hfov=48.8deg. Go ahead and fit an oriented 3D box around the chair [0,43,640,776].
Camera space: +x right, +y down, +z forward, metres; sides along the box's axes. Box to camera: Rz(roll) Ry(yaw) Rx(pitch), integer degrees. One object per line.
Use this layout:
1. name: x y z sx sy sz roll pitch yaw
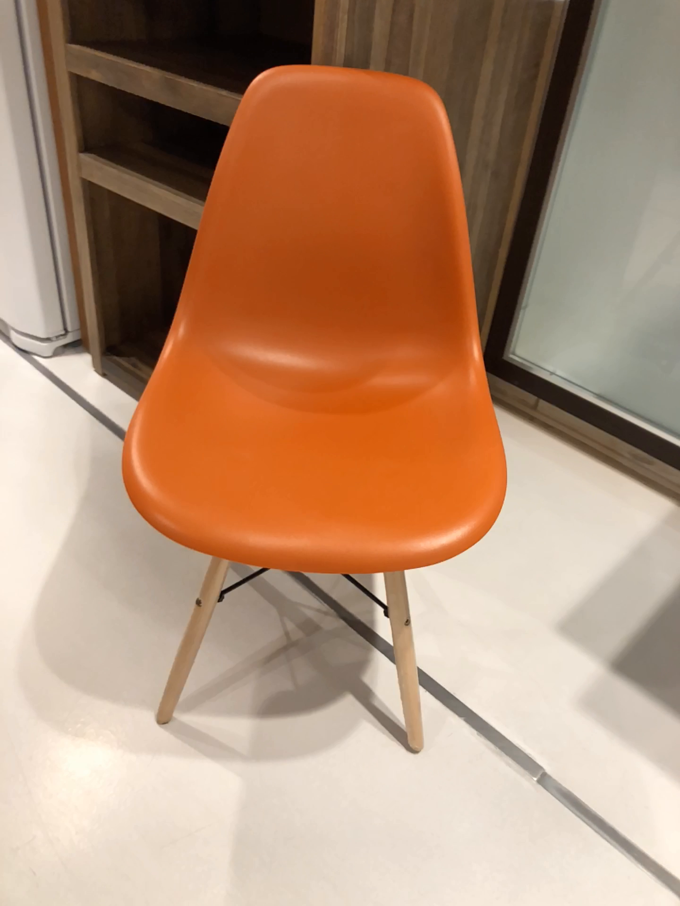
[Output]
1. chair: -0.037 -0.064 1.016 0.490 0.744 0.585 6 36 -1
